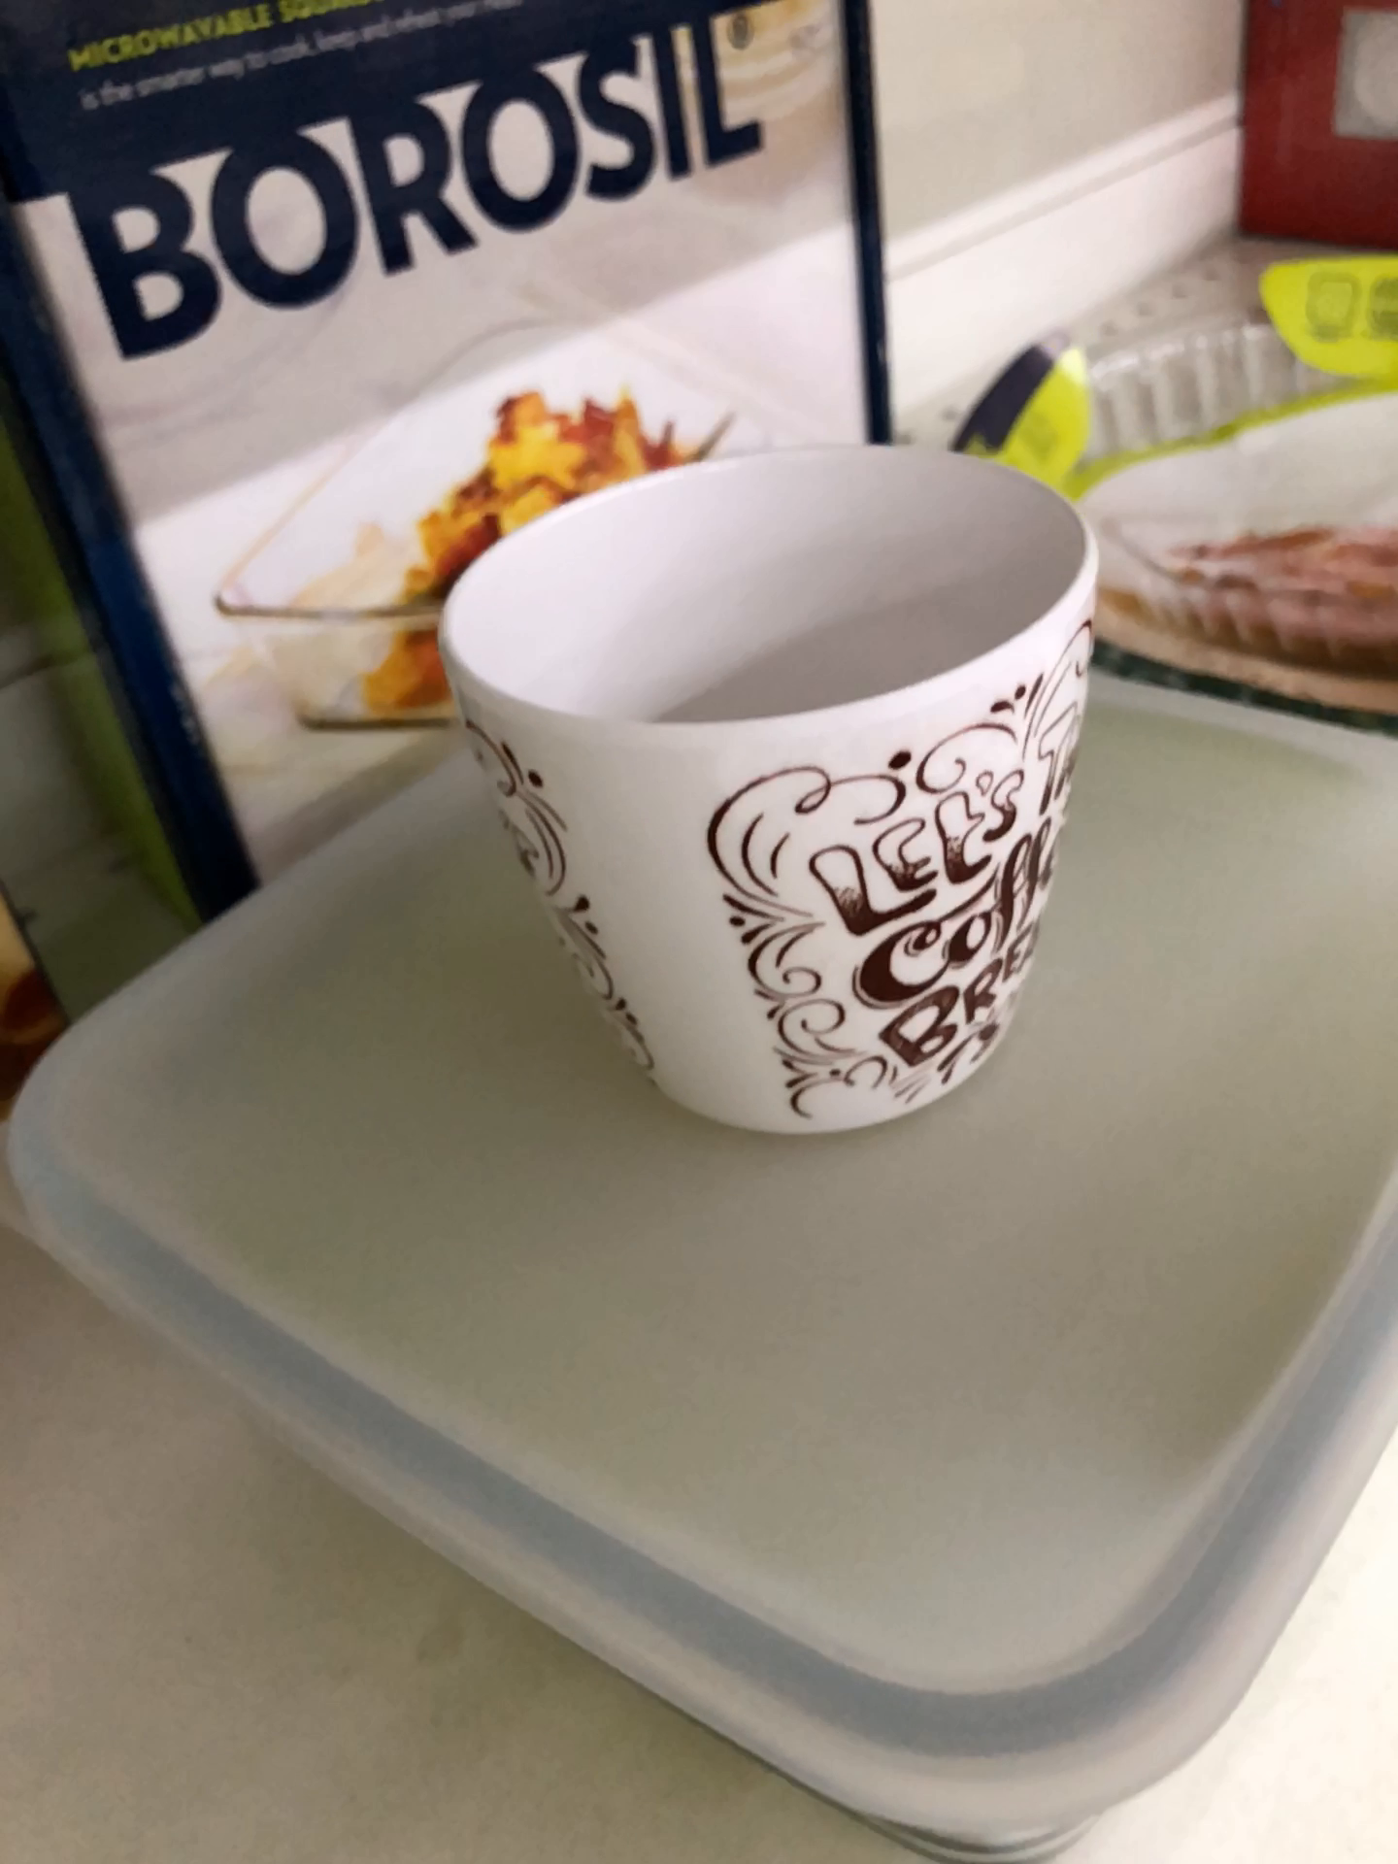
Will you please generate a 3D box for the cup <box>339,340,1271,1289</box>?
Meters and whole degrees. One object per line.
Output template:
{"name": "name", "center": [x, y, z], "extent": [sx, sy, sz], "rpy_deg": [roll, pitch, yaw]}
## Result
{"name": "cup", "center": [0.022, -0.024, 0.204], "extent": [0.070, 0.070, 0.101], "rpy_deg": [14, 42, 29]}
